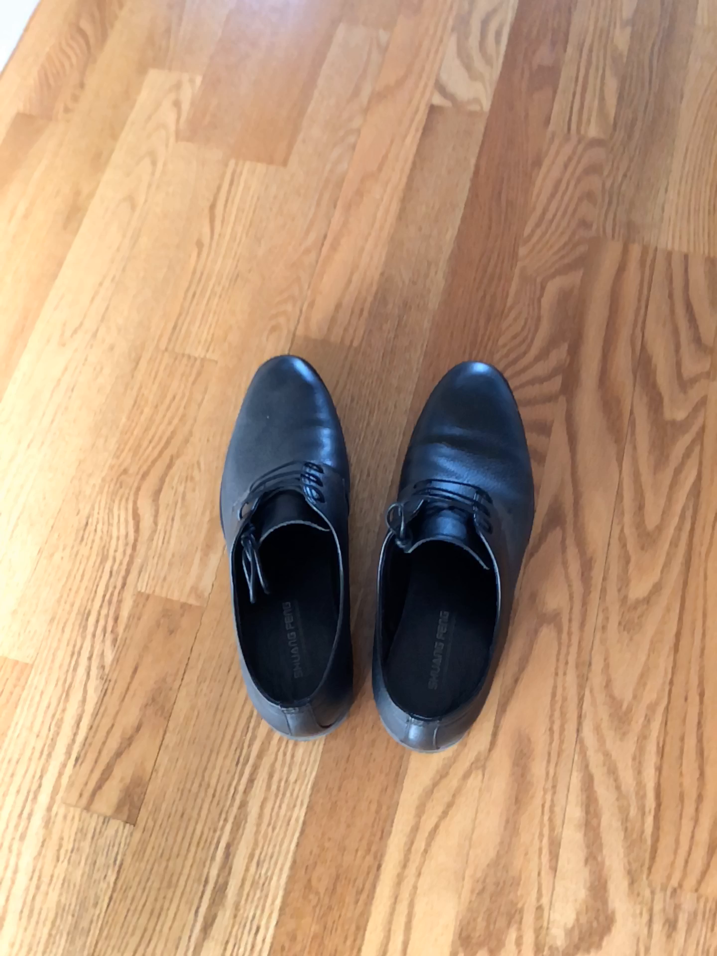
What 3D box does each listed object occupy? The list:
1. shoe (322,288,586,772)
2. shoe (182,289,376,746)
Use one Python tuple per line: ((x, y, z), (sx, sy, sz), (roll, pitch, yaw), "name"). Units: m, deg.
((0.071, 0.036, 0.554), (0.110, 0.124, 0.299), (11, 70, 8), "shoe")
((-0.055, 0.030, 0.580), (0.110, 0.124, 0.304), (-5, 69, 2), "shoe")
